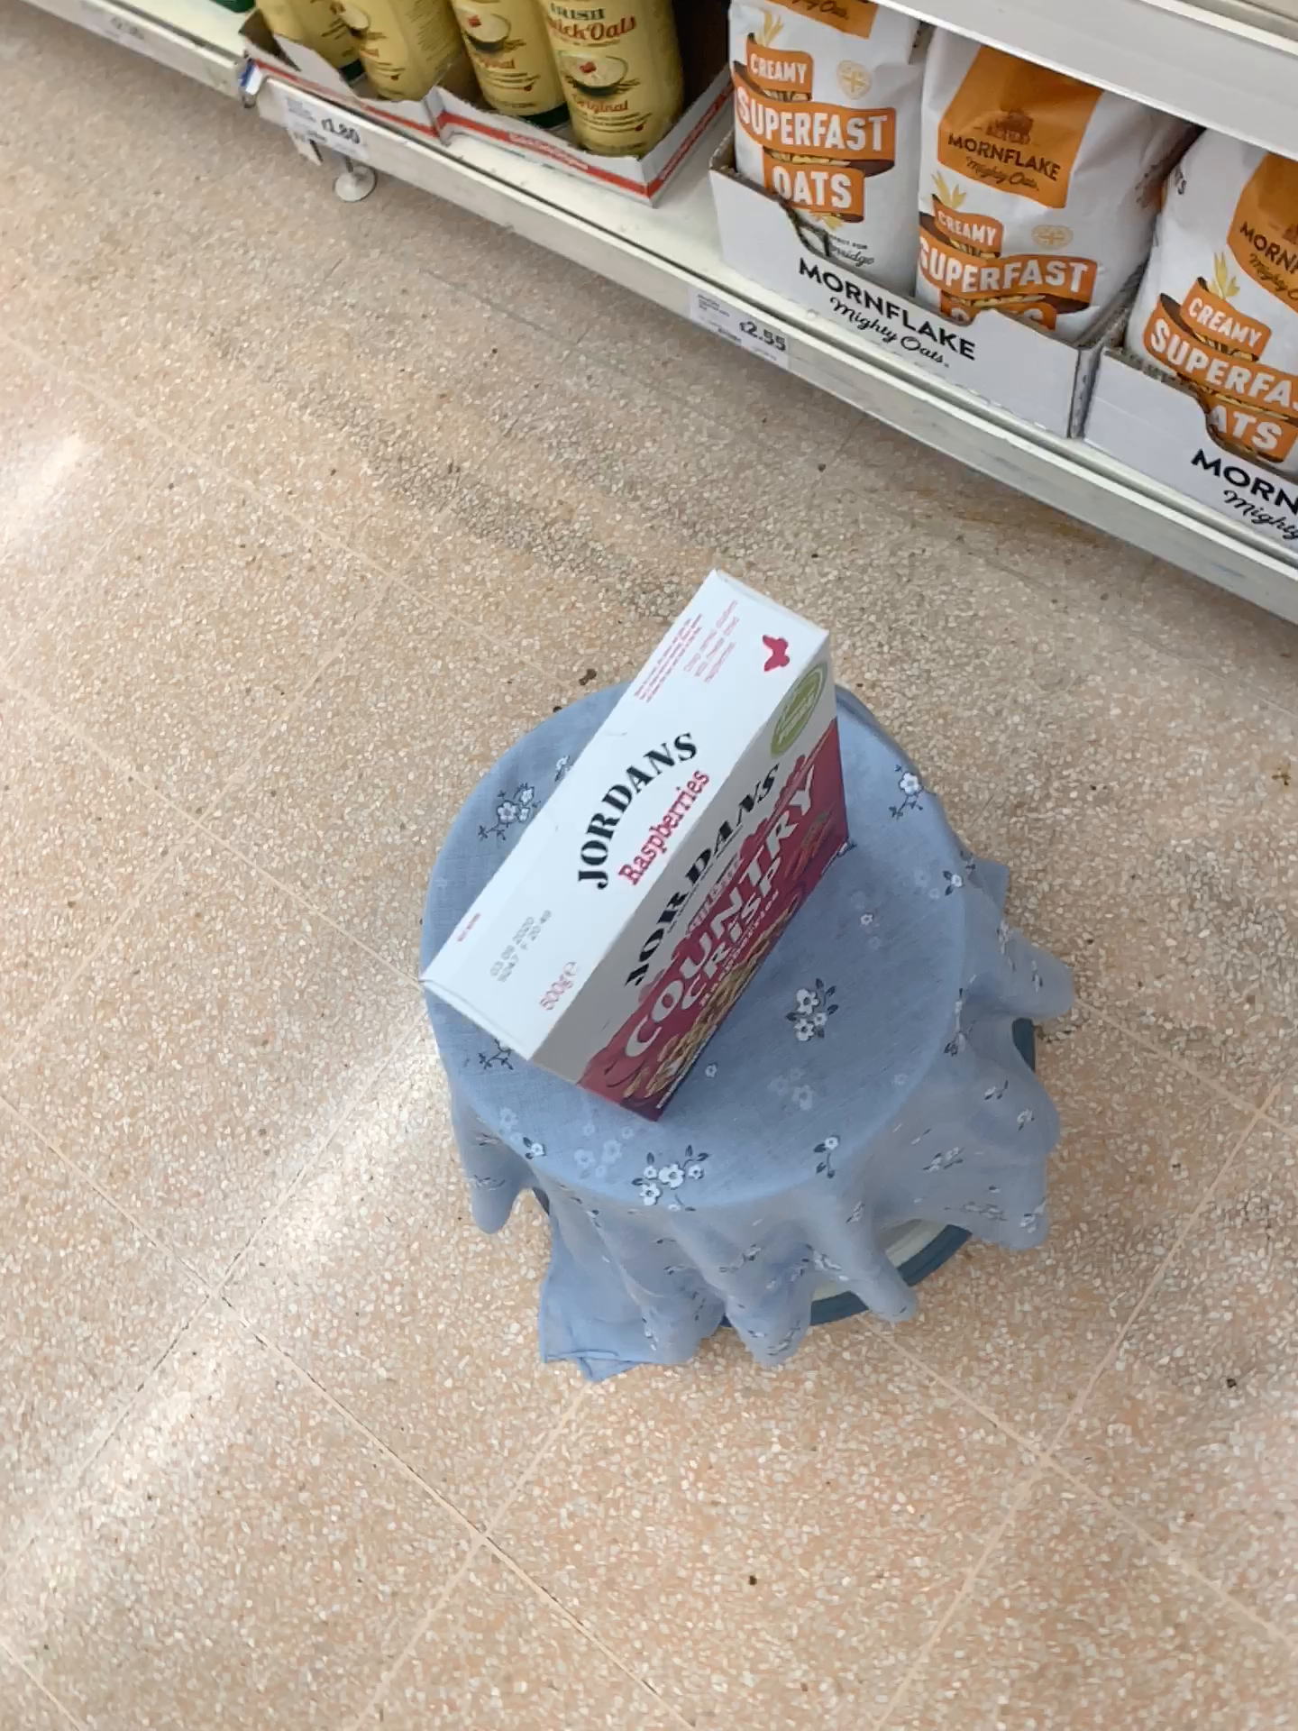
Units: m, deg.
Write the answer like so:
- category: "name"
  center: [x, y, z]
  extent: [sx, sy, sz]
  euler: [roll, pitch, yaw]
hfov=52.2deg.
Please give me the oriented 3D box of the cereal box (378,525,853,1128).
- category: "cereal box"
  center: [0.008, 0.007, 0.592]
  extent: [0.060, 0.269, 0.200]
  euler: [34, 82, 15]
